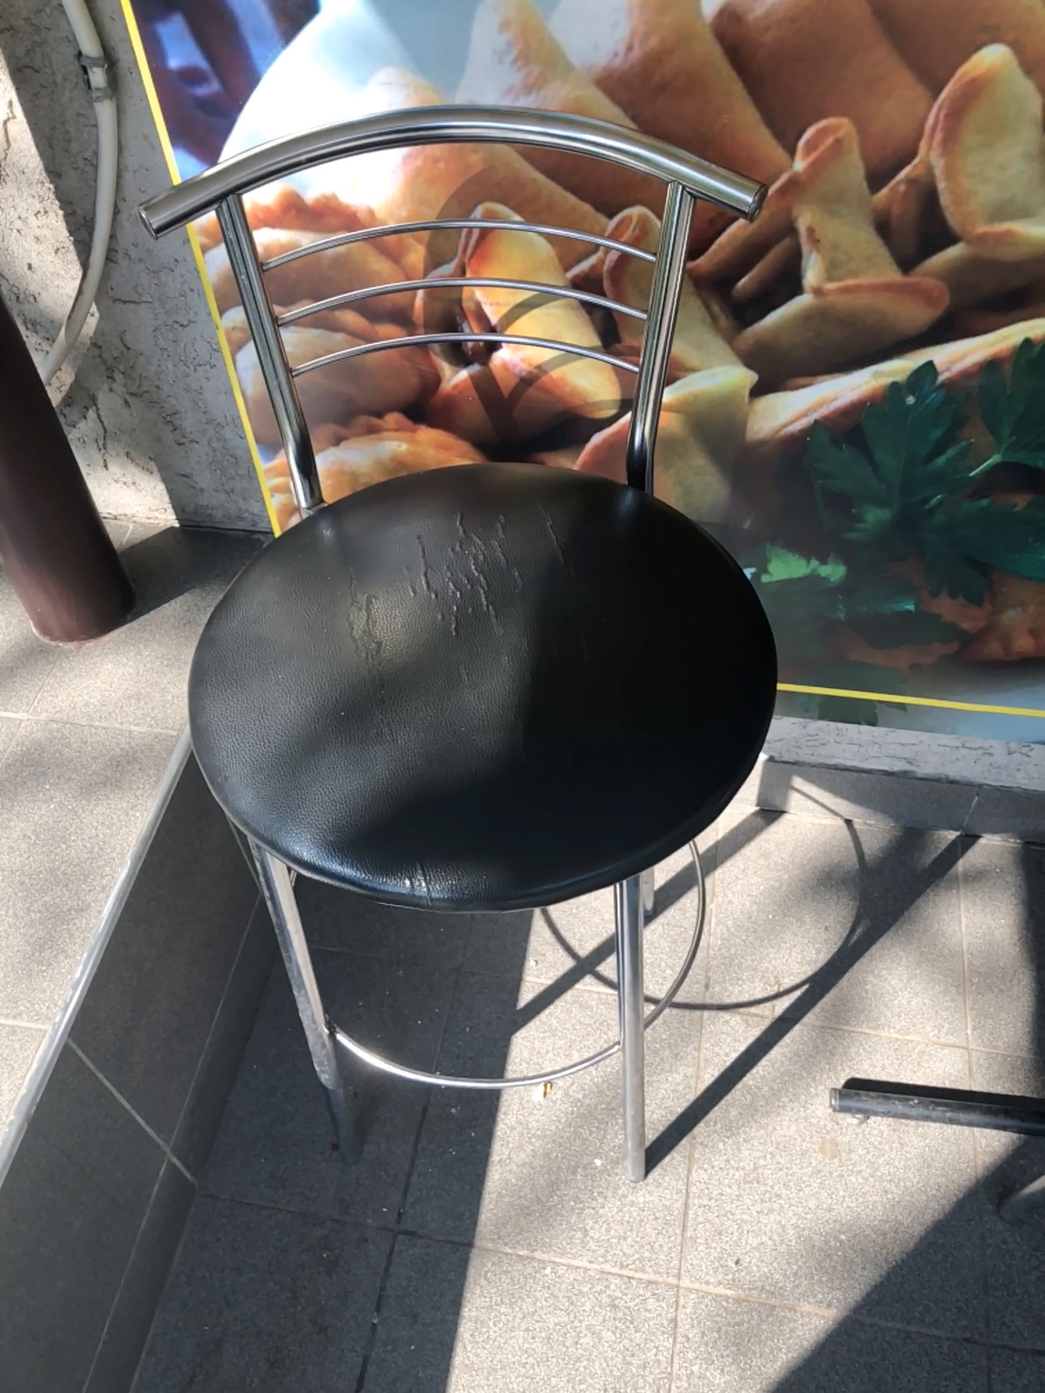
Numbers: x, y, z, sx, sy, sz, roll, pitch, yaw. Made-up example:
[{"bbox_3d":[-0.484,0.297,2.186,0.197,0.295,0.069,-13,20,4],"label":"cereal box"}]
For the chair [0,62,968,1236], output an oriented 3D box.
[{"bbox_3d":[-0.039,0.070,0.972,0.480,0.937,0.482,0,51,3],"label":"chair"}]
